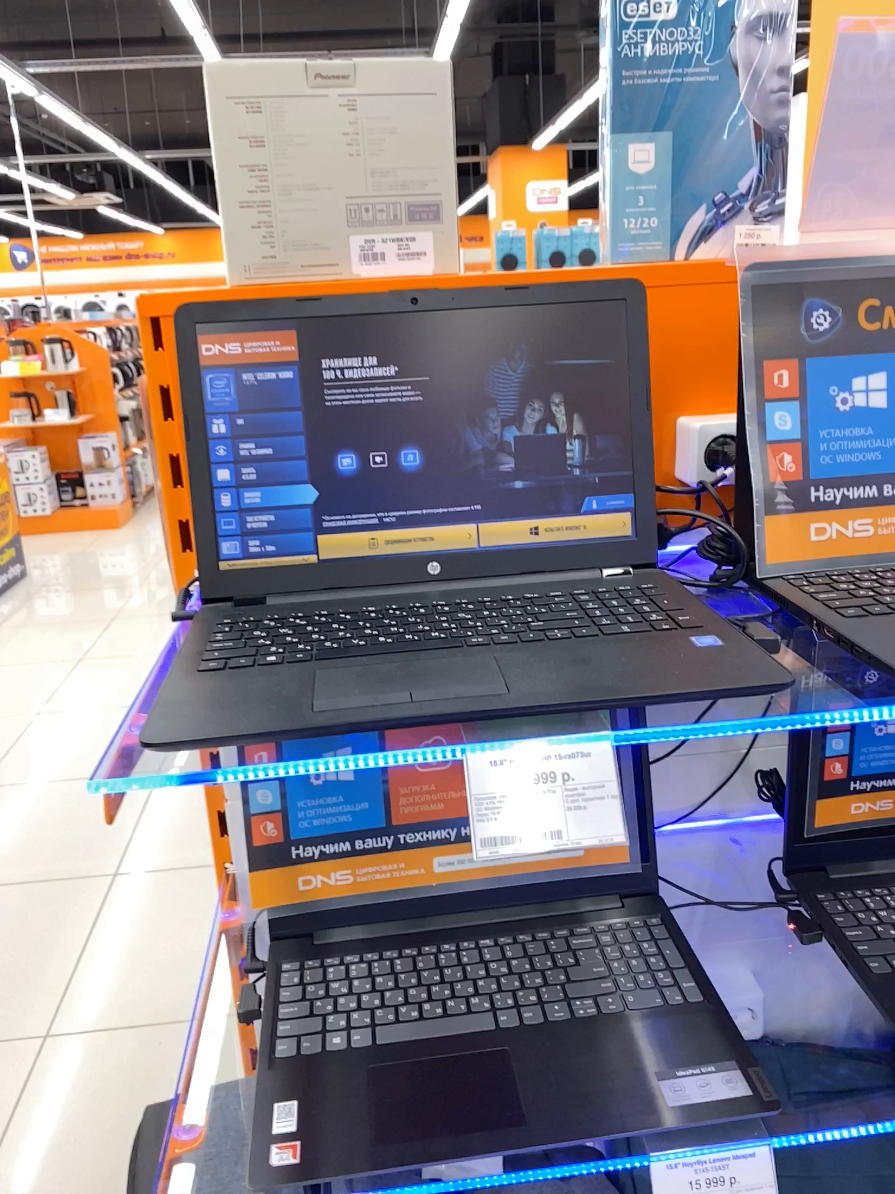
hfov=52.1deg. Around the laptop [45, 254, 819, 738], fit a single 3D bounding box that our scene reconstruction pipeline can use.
[{"bbox_3d":[-0.017,-0.095,0.643,0.388,0.235,0.323,-4,17,-5],"label":"laptop"}]
